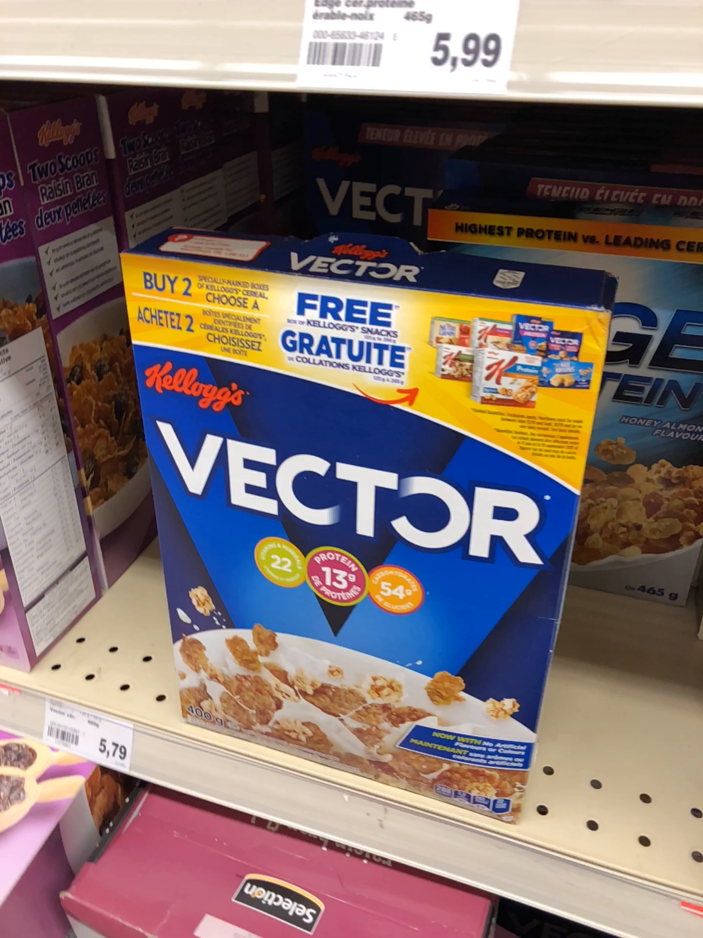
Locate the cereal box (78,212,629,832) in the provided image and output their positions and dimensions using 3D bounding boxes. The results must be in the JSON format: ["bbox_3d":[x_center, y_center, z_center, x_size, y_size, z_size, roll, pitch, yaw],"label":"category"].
[{"bbox_3d":[0.000,0.032,0.365,0.200,0.268,0.060,11,33,17],"label":"cereal box"}]
